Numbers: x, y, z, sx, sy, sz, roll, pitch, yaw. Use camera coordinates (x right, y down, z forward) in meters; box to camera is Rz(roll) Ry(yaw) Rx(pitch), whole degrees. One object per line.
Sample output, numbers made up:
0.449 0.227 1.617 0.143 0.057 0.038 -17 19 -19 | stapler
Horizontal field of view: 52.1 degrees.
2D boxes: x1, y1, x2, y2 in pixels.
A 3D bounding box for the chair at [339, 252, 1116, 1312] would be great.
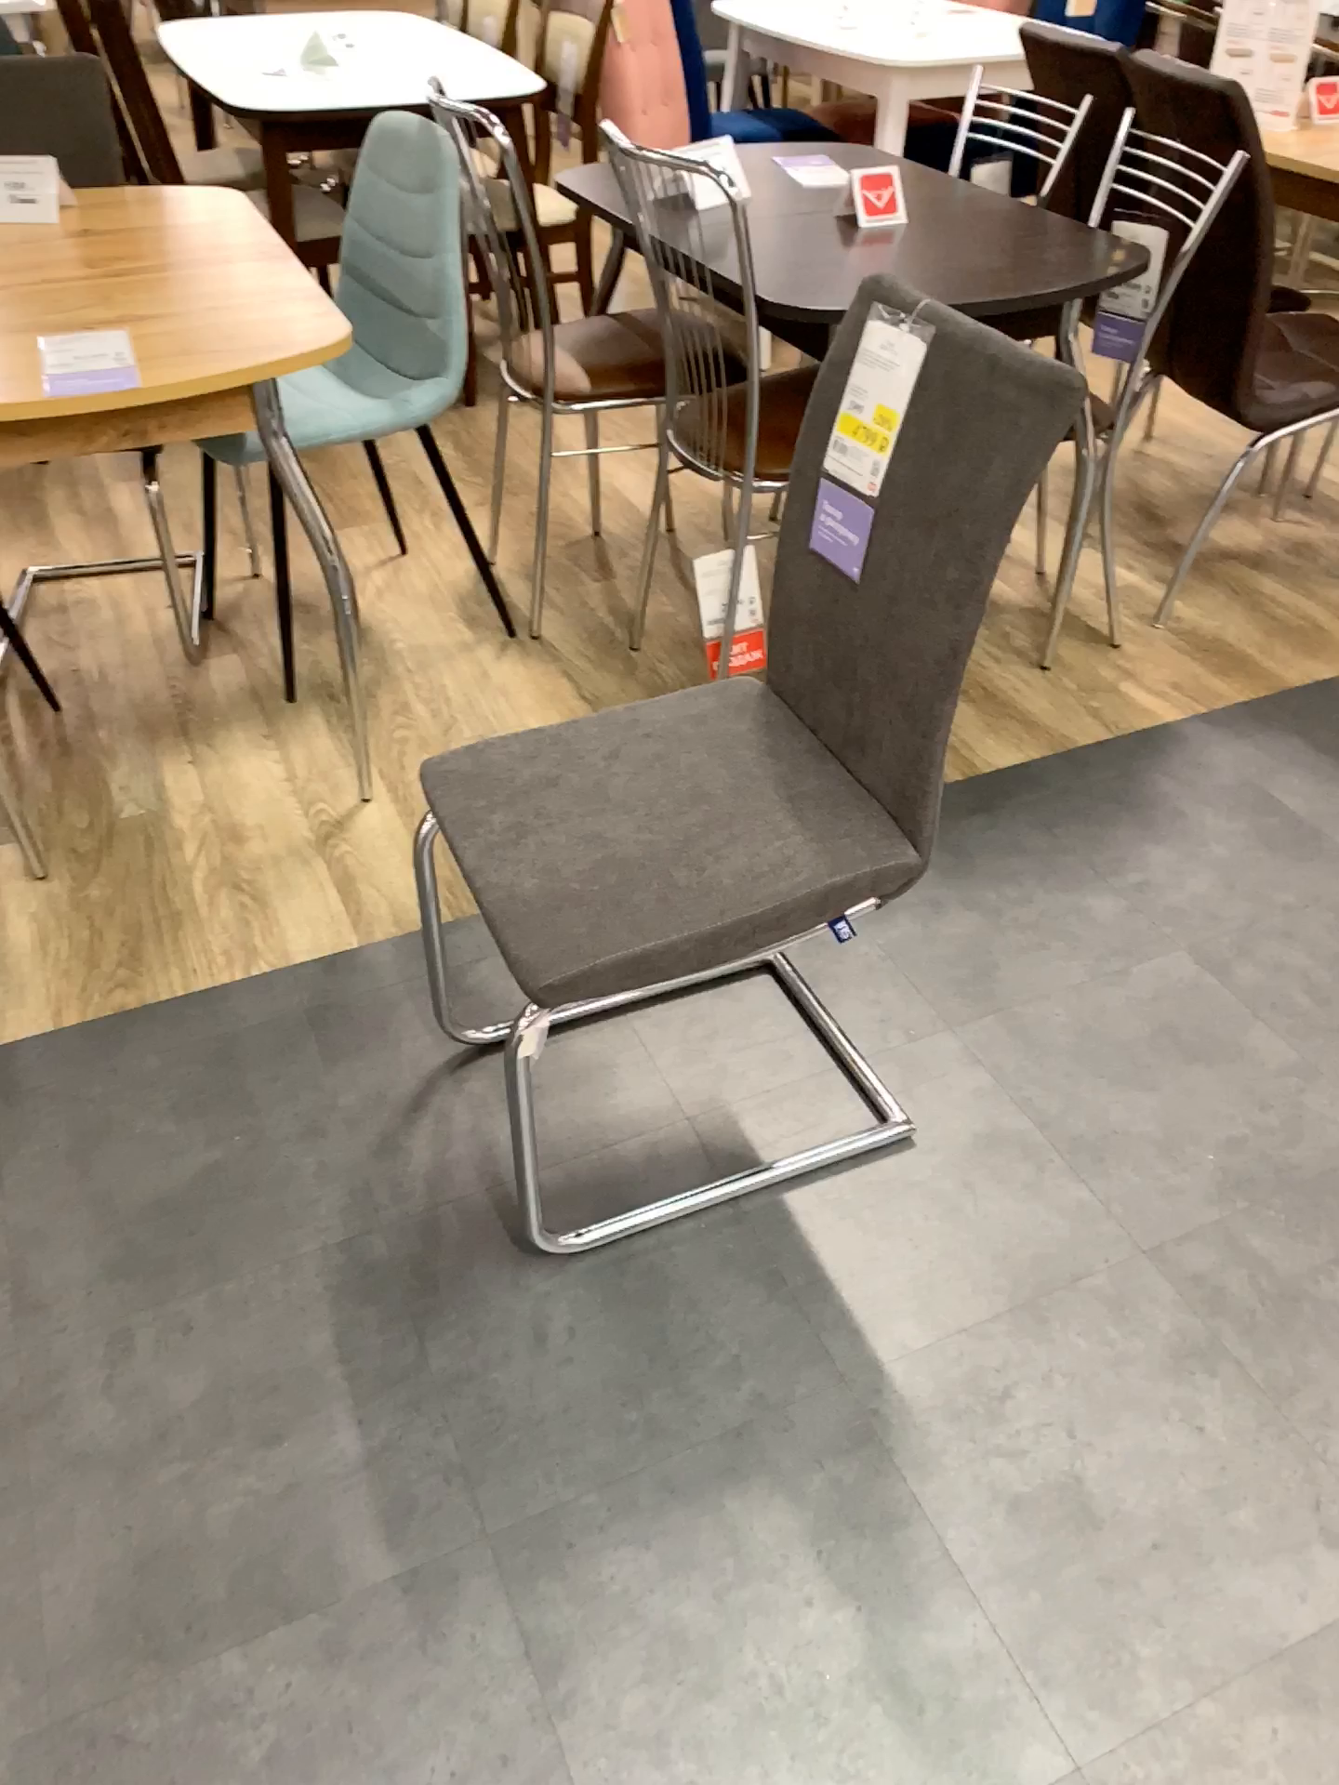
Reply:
0.028 -0.095 1.493 0.540 0.974 0.437 -15 41 -18 | chair
